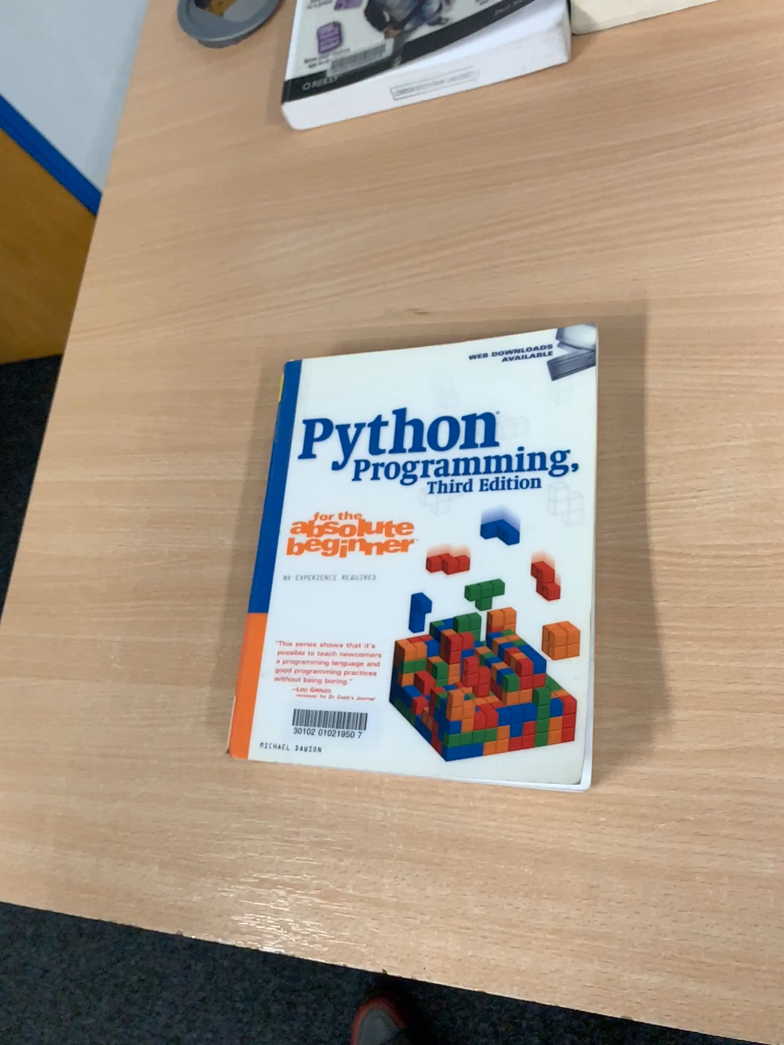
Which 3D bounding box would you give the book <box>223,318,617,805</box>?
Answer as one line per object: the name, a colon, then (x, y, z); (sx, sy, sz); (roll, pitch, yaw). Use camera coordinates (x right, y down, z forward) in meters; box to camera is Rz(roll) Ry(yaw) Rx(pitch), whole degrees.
book: (0.018, 0.015, 0.401); (0.175, 0.039, 0.219); (-2, 70, 23)
